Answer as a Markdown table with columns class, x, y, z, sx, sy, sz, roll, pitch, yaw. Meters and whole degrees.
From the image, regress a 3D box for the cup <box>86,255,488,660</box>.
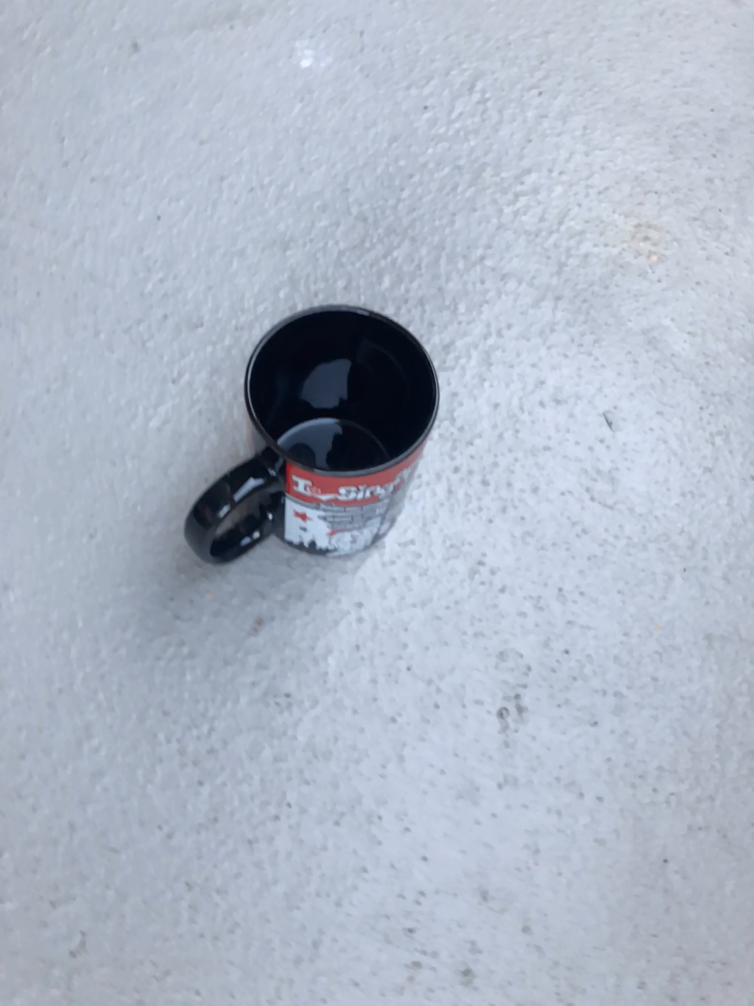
| class | x | y | z | sx | sy | sz | roll | pitch | yaw |
| --- | --- | --- | --- | --- | --- | --- | --- | --- | --- |
| cup | -0.037 | -0.016 | 0.369 | 0.130 | 0.110 | 0.080 | -36 | 74 | -20 |
